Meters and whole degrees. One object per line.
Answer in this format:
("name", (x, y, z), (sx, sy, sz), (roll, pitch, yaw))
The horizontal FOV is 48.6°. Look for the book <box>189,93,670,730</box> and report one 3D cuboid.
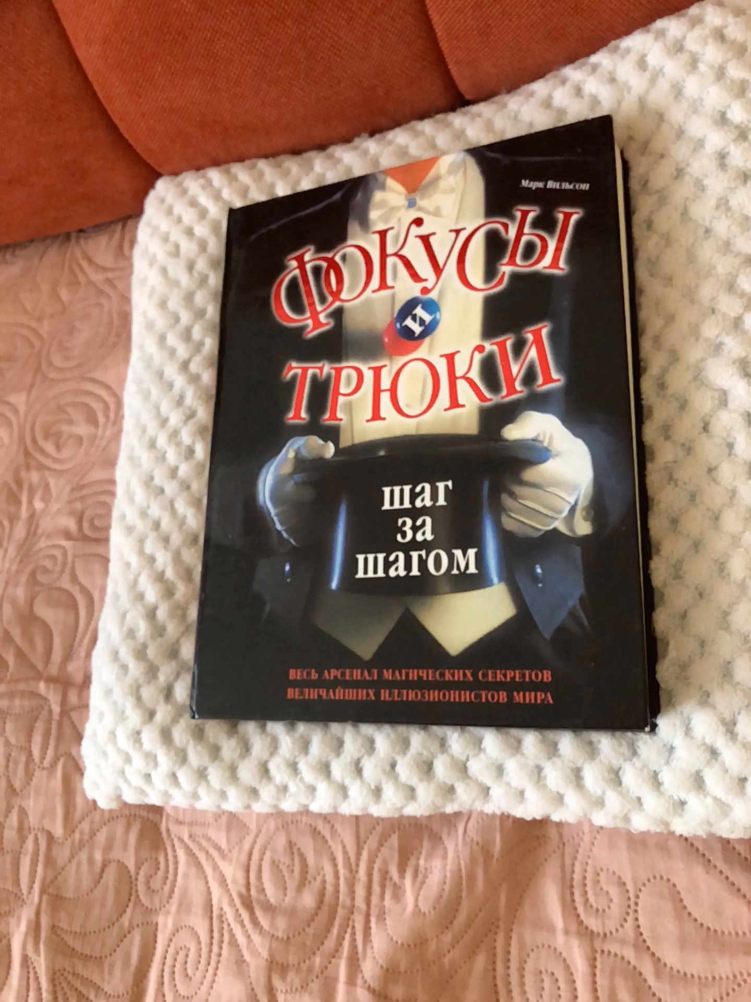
("book", (0.019, -0.036, 0.386), (0.200, 0.040, 0.271), (-6, 73, 23))
